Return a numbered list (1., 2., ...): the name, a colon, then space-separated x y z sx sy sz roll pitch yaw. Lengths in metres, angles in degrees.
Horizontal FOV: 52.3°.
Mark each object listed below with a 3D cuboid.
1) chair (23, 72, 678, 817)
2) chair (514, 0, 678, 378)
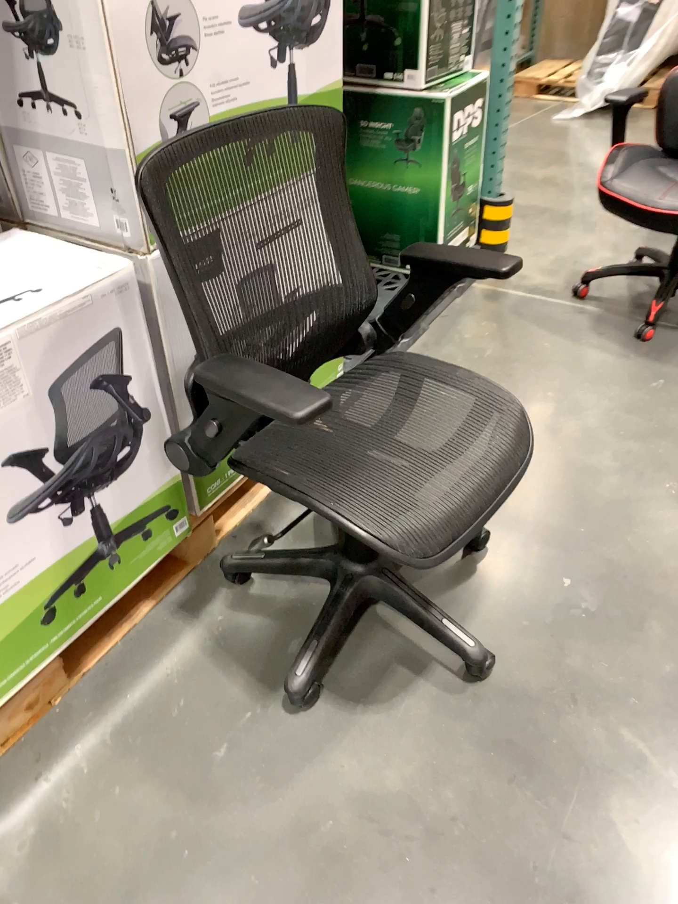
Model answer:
1. chair: 0.069 -0.062 1.286 0.737 0.986 0.677 26 46 31
2. chair: 1.253 -1.065 2.307 0.758 1.146 0.968 30 48 34
